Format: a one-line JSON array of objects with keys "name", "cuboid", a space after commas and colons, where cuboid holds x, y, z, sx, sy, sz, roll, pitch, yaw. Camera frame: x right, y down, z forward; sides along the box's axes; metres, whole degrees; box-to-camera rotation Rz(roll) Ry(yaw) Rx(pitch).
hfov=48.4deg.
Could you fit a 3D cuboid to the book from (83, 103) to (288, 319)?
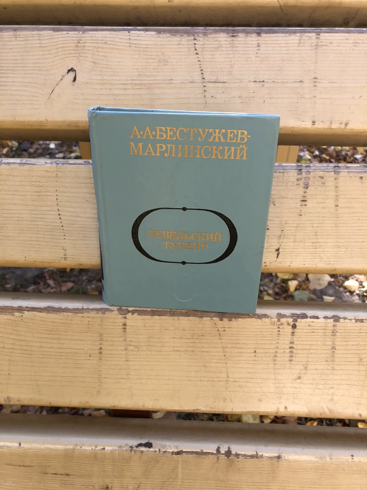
[{"name": "book", "cuboid": [0.001, -0.021, 0.326, 0.140, 0.169, 0.022, 4, 29, 7]}]
